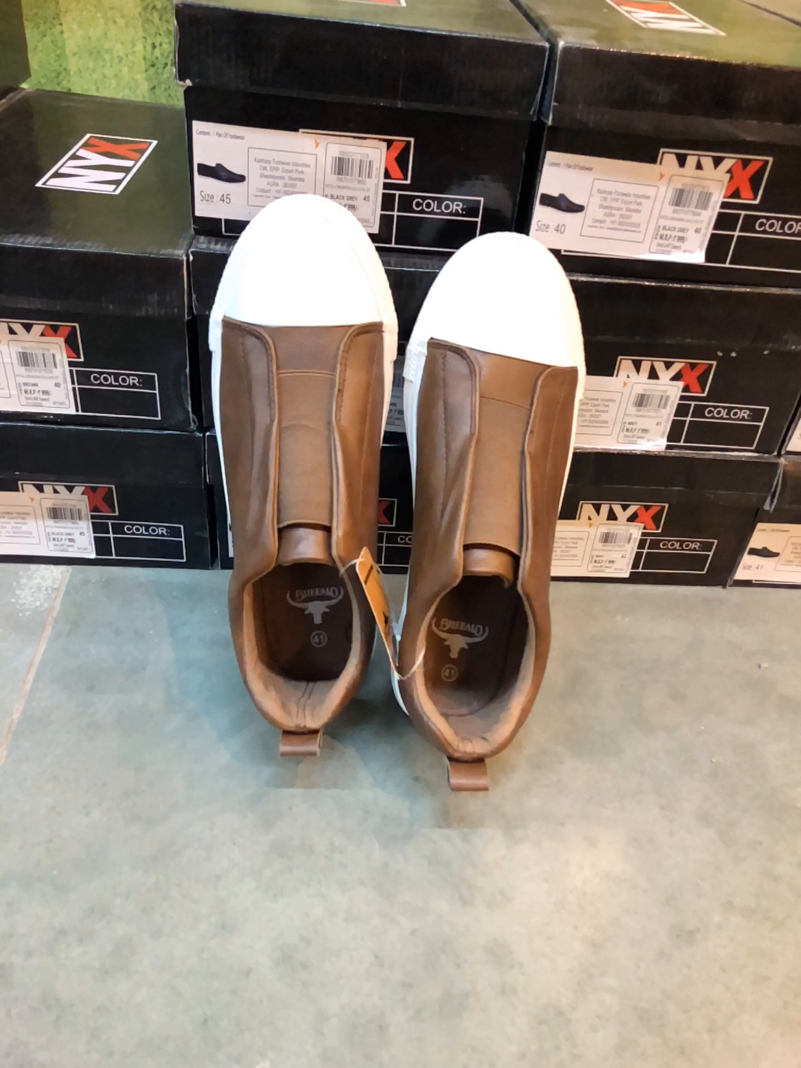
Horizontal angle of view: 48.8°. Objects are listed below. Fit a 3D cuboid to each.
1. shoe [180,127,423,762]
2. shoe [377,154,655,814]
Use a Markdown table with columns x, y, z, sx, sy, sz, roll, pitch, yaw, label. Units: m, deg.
| x | y | z | sx | sy | sz | roll | pitch | yaw | label |
| --- | --- | --- | --- | --- | --- | --- | --- | --- | --- |
| -0.048 | -0.038 | 0.431 | 0.098 | 0.269 | 0.103 | 1 | 2 | -6 | shoe |
| 0.048 | -0.021 | 0.422 | 0.096 | 0.272 | 0.100 | 4 | 0 | -4 | shoe |
